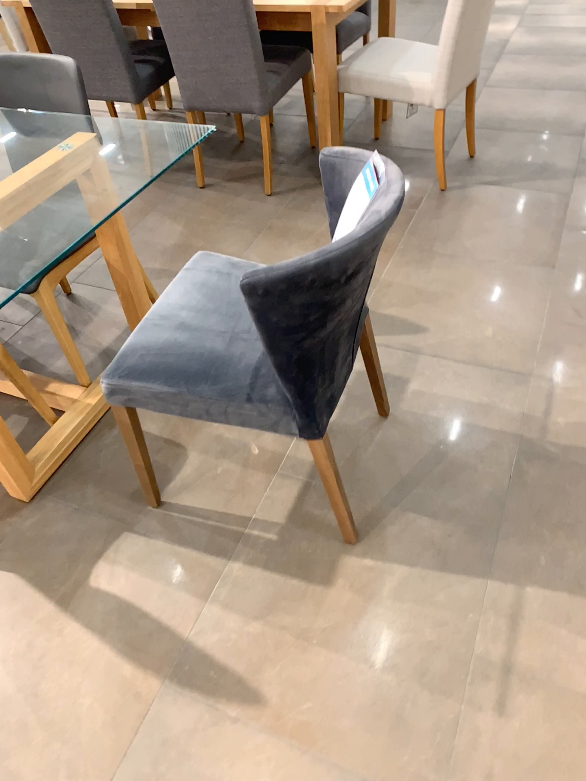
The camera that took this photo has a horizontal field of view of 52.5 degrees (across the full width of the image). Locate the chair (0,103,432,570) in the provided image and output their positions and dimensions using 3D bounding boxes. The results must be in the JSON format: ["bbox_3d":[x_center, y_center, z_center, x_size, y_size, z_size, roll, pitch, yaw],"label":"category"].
[{"bbox_3d":[-0.072,-0.126,1.376,0.614,0.805,0.582,11,47,18],"label":"chair"}]
